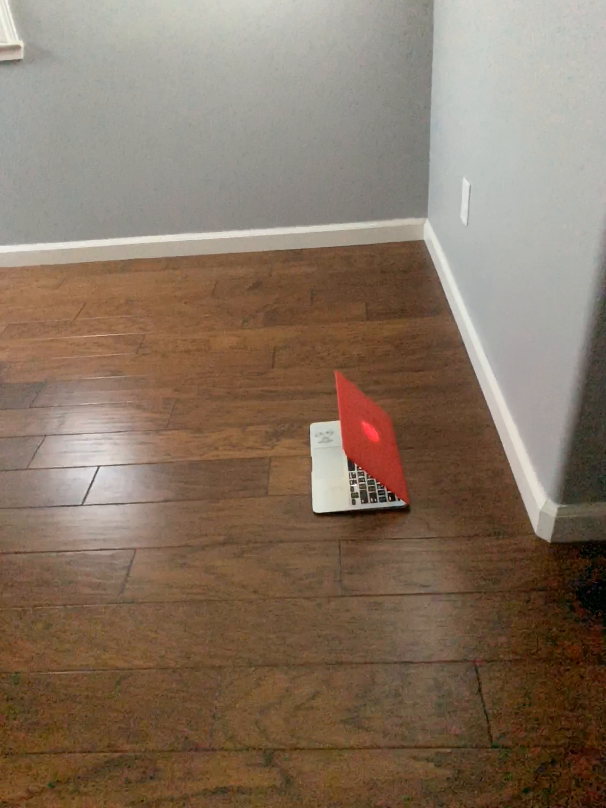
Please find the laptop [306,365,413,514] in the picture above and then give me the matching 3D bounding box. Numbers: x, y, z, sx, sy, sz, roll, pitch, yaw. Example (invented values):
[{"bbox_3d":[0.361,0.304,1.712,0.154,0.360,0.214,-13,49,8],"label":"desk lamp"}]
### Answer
[{"bbox_3d":[0.110,0.066,1.314,0.197,0.139,0.303,-5,35,3],"label":"laptop"}]
